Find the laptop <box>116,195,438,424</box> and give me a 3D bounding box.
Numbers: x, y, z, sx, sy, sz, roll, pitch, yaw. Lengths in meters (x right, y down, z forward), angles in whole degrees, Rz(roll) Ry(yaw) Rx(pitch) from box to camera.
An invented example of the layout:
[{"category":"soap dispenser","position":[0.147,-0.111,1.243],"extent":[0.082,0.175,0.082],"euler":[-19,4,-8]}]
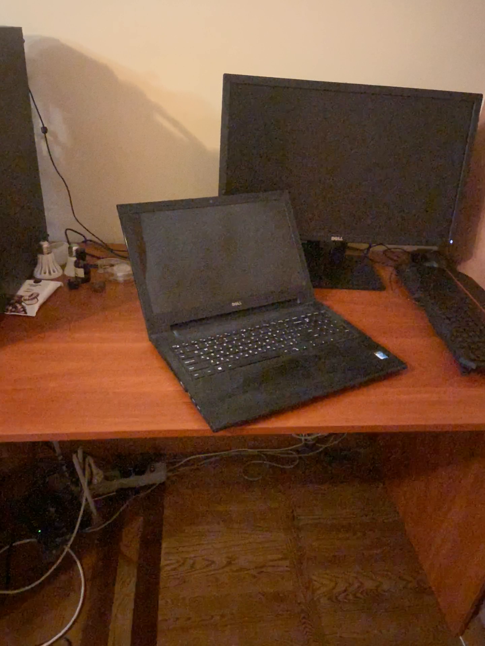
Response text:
[{"category":"laptop","position":[0.026,-0.064,0.827],"extent":[0.356,0.181,0.394],"euler":[-11,33,-27]}]
